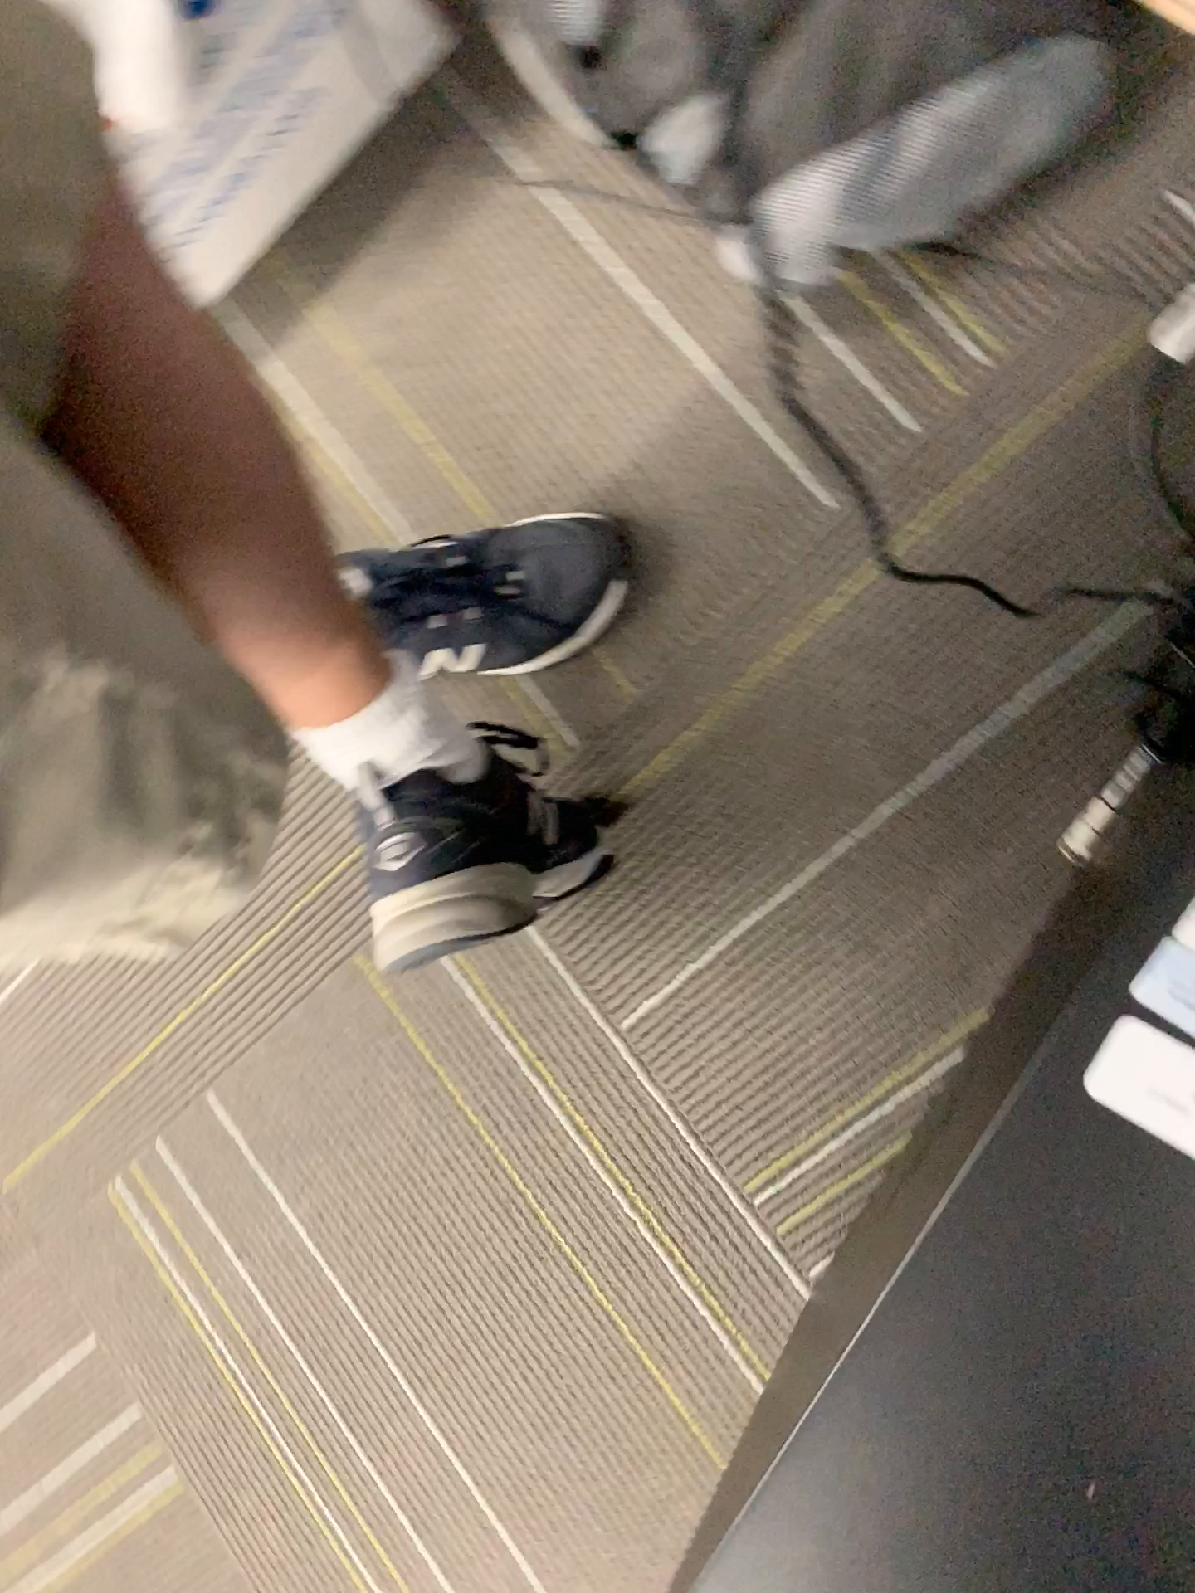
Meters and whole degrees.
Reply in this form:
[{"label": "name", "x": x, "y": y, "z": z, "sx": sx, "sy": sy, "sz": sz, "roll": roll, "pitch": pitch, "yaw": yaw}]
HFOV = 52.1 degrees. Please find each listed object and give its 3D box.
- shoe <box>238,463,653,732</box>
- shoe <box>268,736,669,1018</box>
[{"label": "shoe", "x": -0.120, "y": -0.143, "z": 0.936, "sx": 0.297, "sy": 0.077, "sz": 0.120, "roll": -13, "pitch": 87, "yaw": 21}, {"label": "shoe", "x": -0.070, "y": 0.042, "z": 0.837, "sx": 0.122, "sy": 0.293, "sz": 0.129, "roll": -19, "pitch": 87, "yaw": 21}]
